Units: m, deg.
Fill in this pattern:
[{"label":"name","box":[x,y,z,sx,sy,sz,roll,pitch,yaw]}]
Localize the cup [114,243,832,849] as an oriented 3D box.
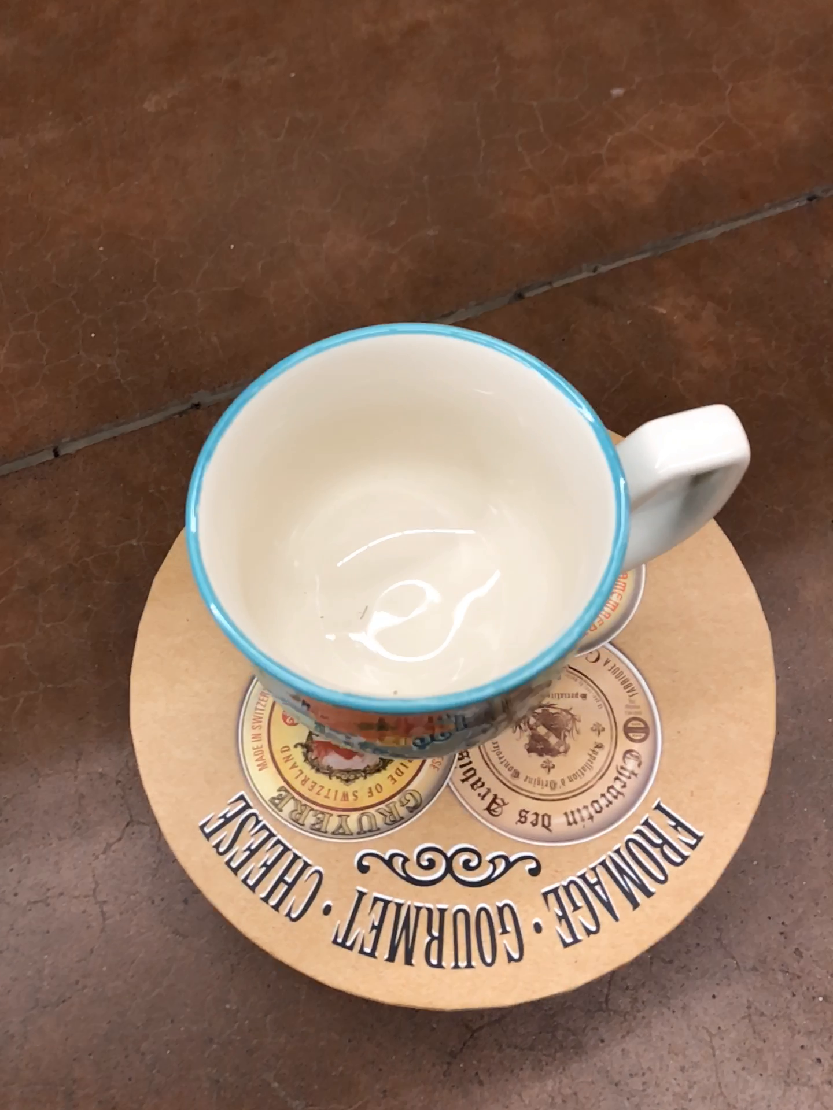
[{"label":"cup","box":[0.014,0.001,0.234,0.140,0.080,0.090,-17,65,-7]}]
